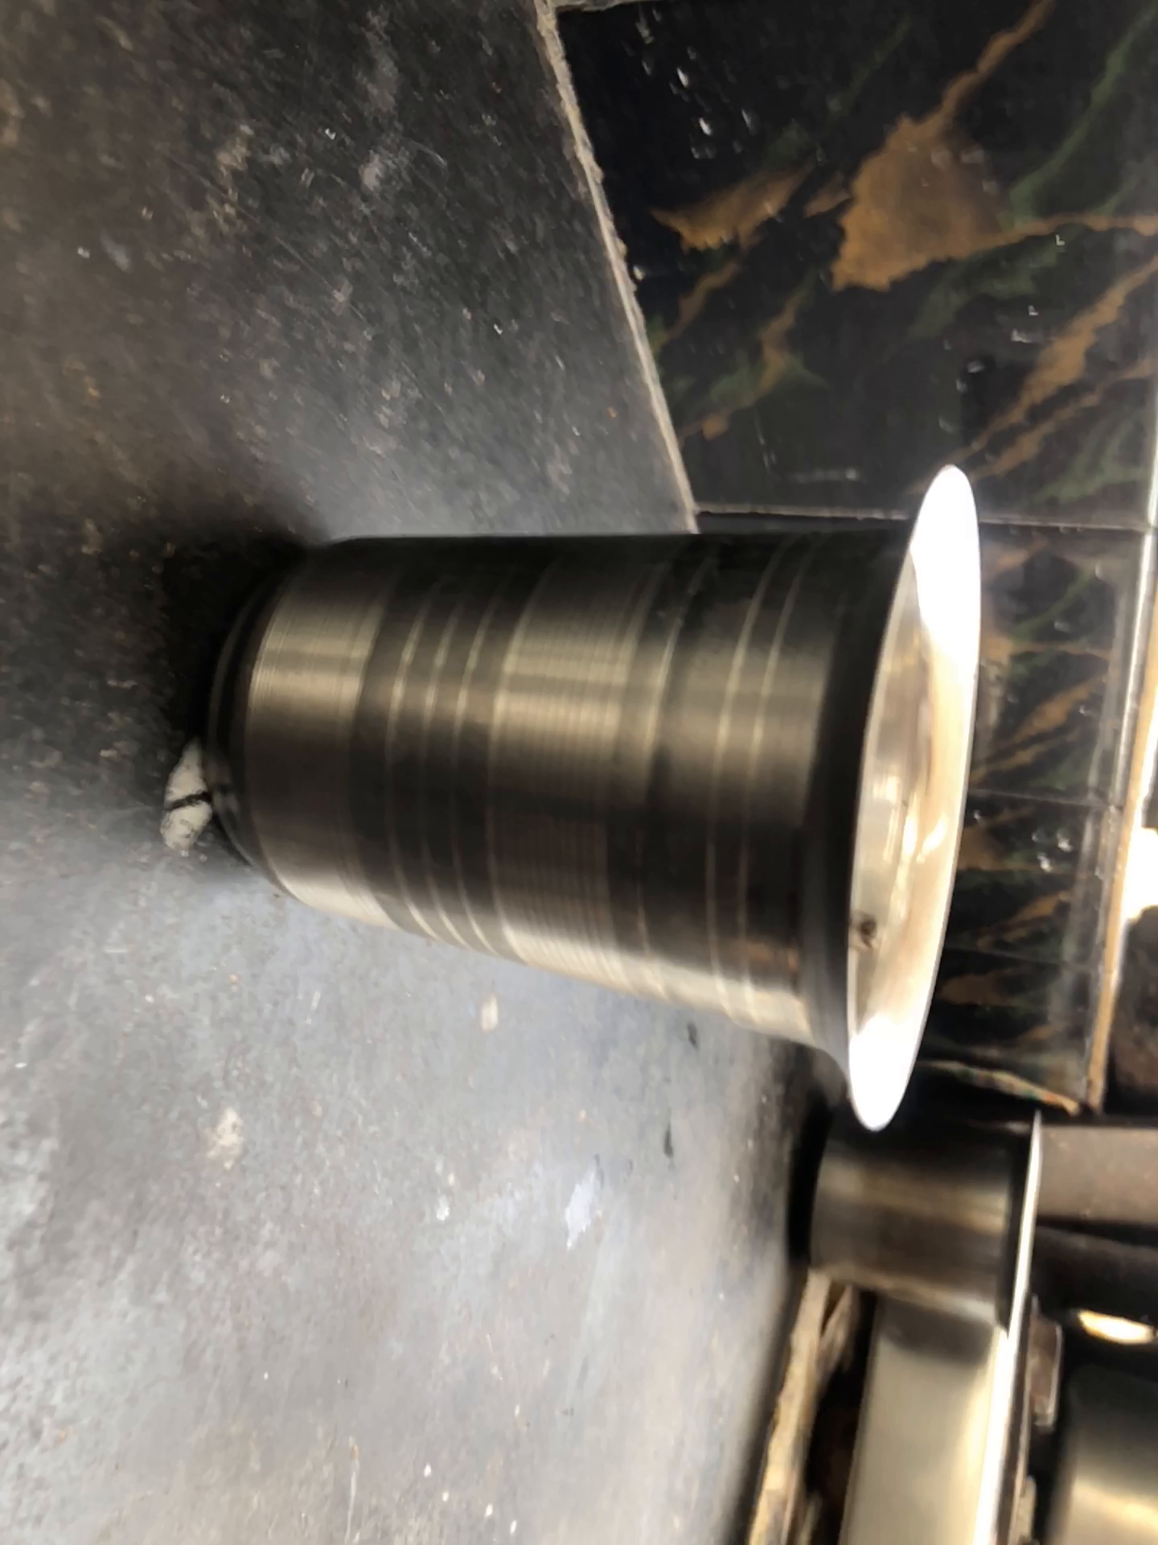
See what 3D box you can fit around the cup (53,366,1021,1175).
[{"bbox_3d":[0.004,0.001,0.201,0.091,0.109,0.090,7,90,-68],"label":"cup"}]
